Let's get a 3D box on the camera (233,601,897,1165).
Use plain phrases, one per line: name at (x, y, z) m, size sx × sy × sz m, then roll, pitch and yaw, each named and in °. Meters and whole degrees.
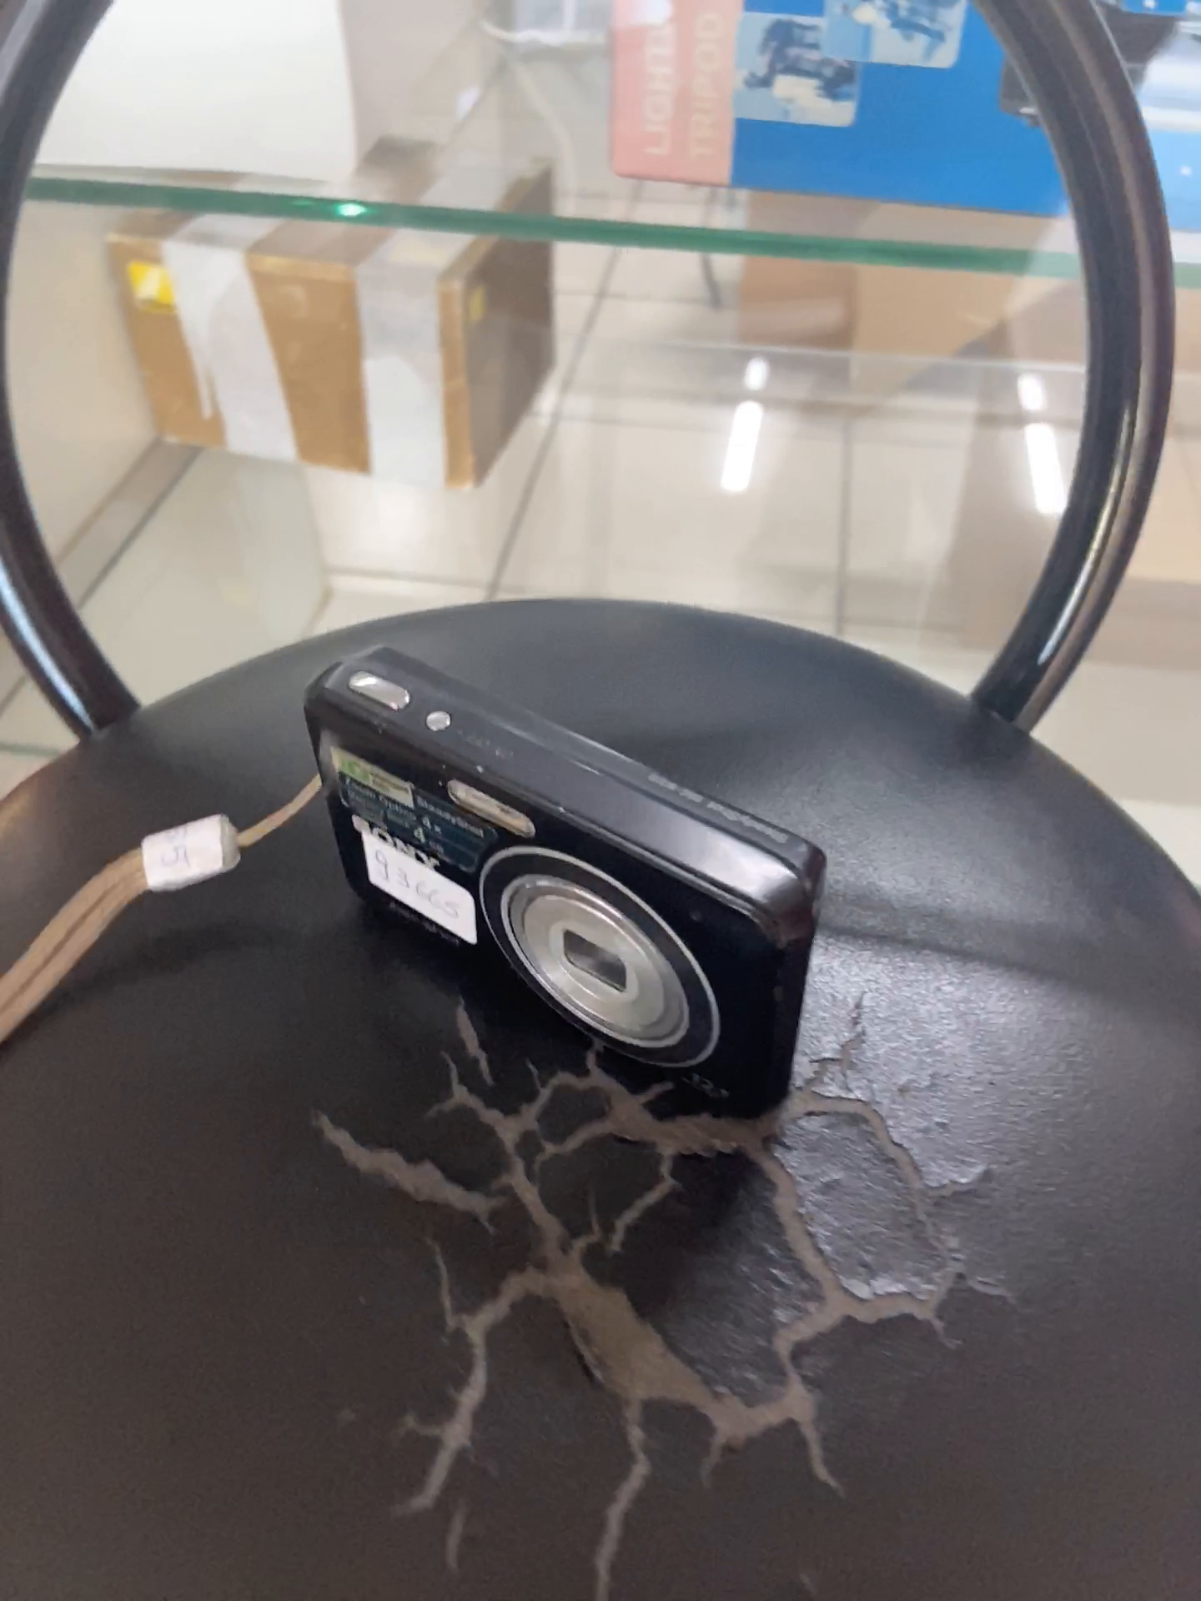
camera at (-0.010, 0.011, 0.206) m, size 0.110 × 0.050 × 0.020 m, roll 26°, pitch 51°, yaw 25°
